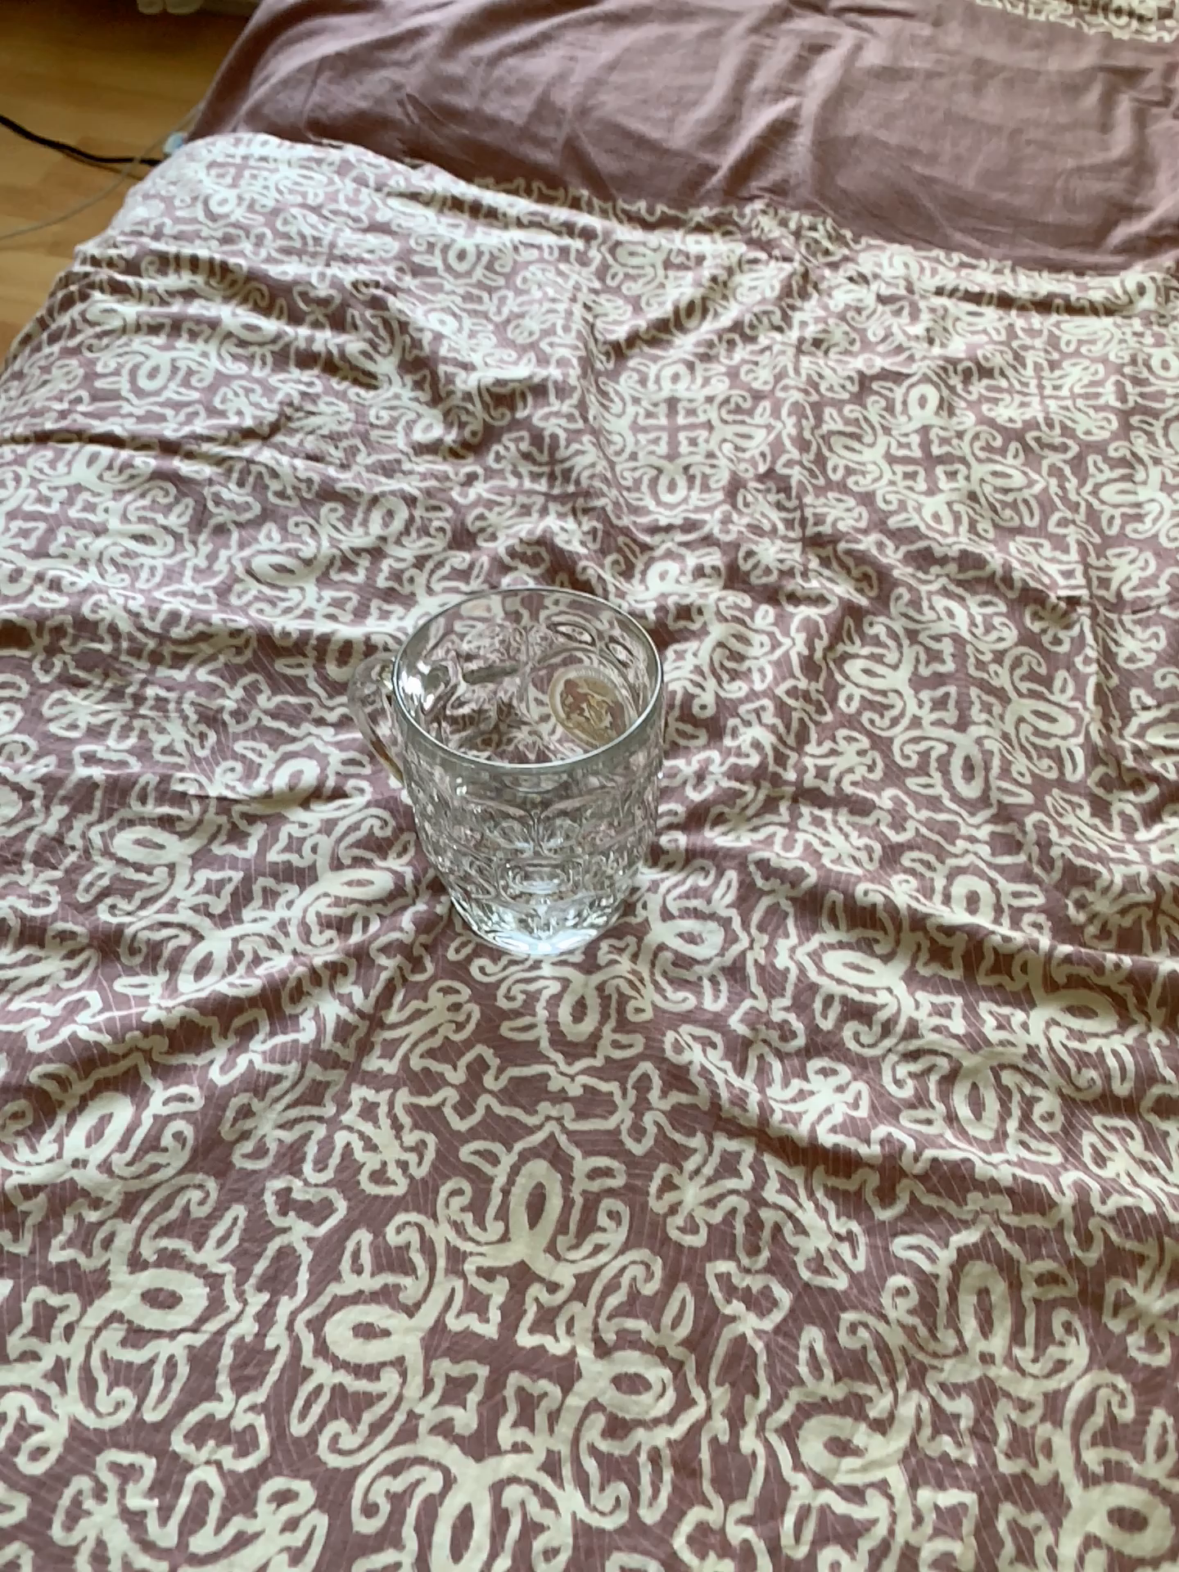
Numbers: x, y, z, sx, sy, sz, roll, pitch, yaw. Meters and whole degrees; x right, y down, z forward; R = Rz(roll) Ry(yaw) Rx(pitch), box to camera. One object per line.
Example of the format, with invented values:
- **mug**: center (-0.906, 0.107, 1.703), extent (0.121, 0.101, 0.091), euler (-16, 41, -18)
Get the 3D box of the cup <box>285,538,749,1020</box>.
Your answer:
- **cup**: center (-0.022, -0.004, 0.423), extent (0.117, 0.099, 0.093), euler (22, 51, 19)
